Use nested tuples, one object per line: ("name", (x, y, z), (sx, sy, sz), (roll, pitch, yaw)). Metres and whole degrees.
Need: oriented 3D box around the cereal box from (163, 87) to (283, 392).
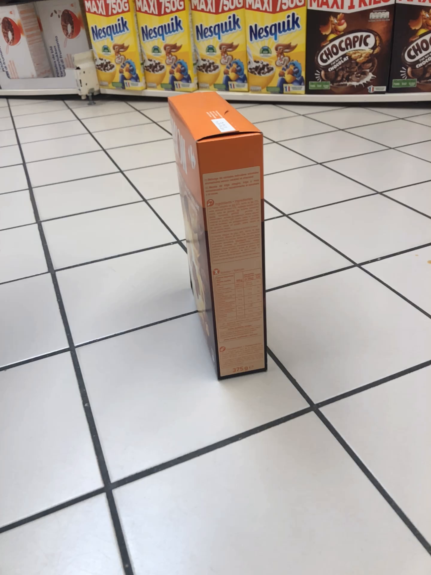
("cereal box", (0.006, -0.058, 0.497), (0.070, 0.249, 0.201), (-9, 32, -6))
